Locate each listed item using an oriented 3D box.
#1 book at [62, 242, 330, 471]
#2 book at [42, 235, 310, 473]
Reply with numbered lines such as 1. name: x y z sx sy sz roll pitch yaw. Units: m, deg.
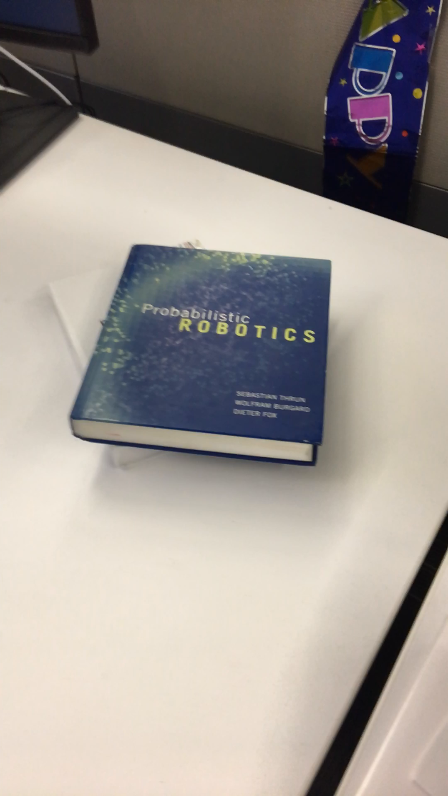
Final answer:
1. book: -0.012 -0.051 0.621 0.210 0.030 0.240 5 51 6
2. book: -0.056 -0.059 0.672 0.190 0.030 0.240 -20 53 -14
